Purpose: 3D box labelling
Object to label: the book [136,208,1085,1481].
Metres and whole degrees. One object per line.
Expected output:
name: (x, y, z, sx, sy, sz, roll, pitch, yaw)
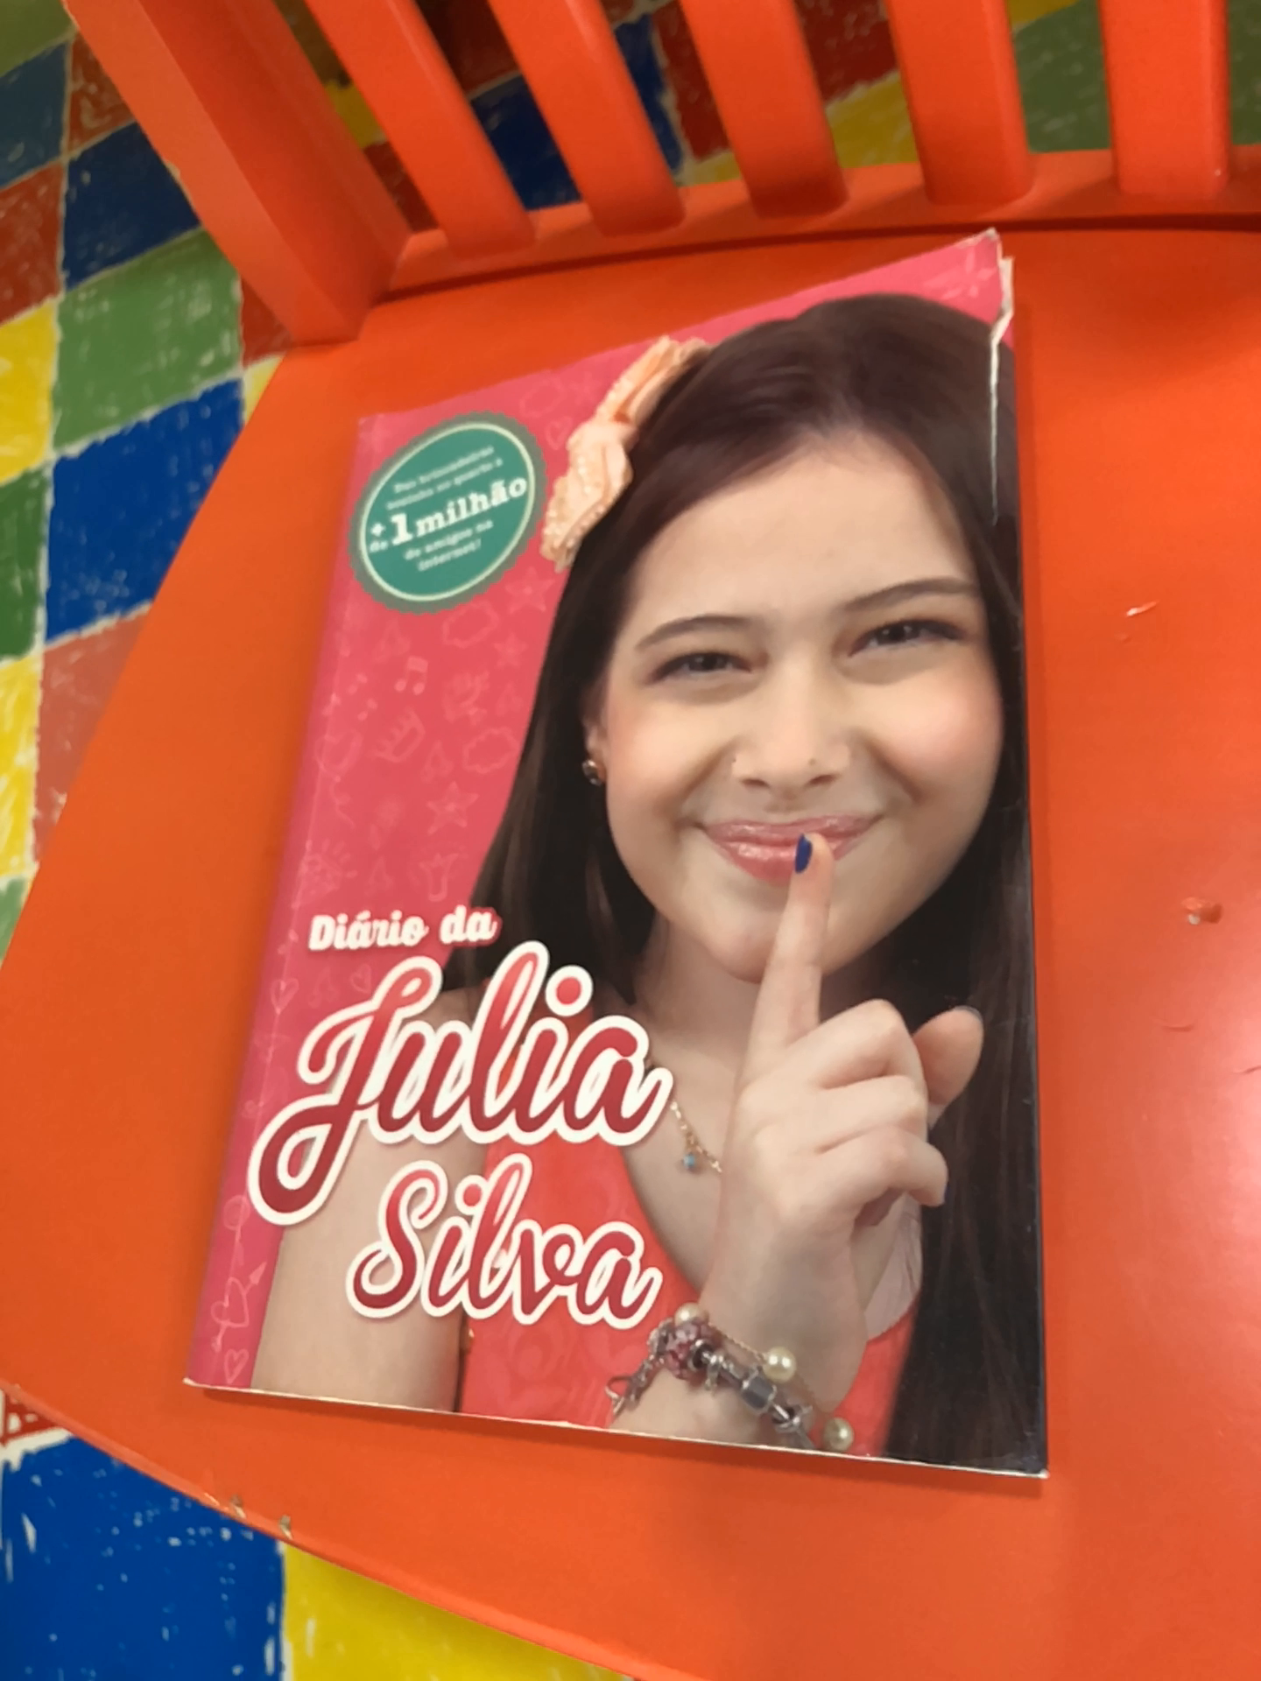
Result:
book: (-0.001, -0.011, 0.289, 0.171, 0.020, 0.241, -4, 66, 22)
